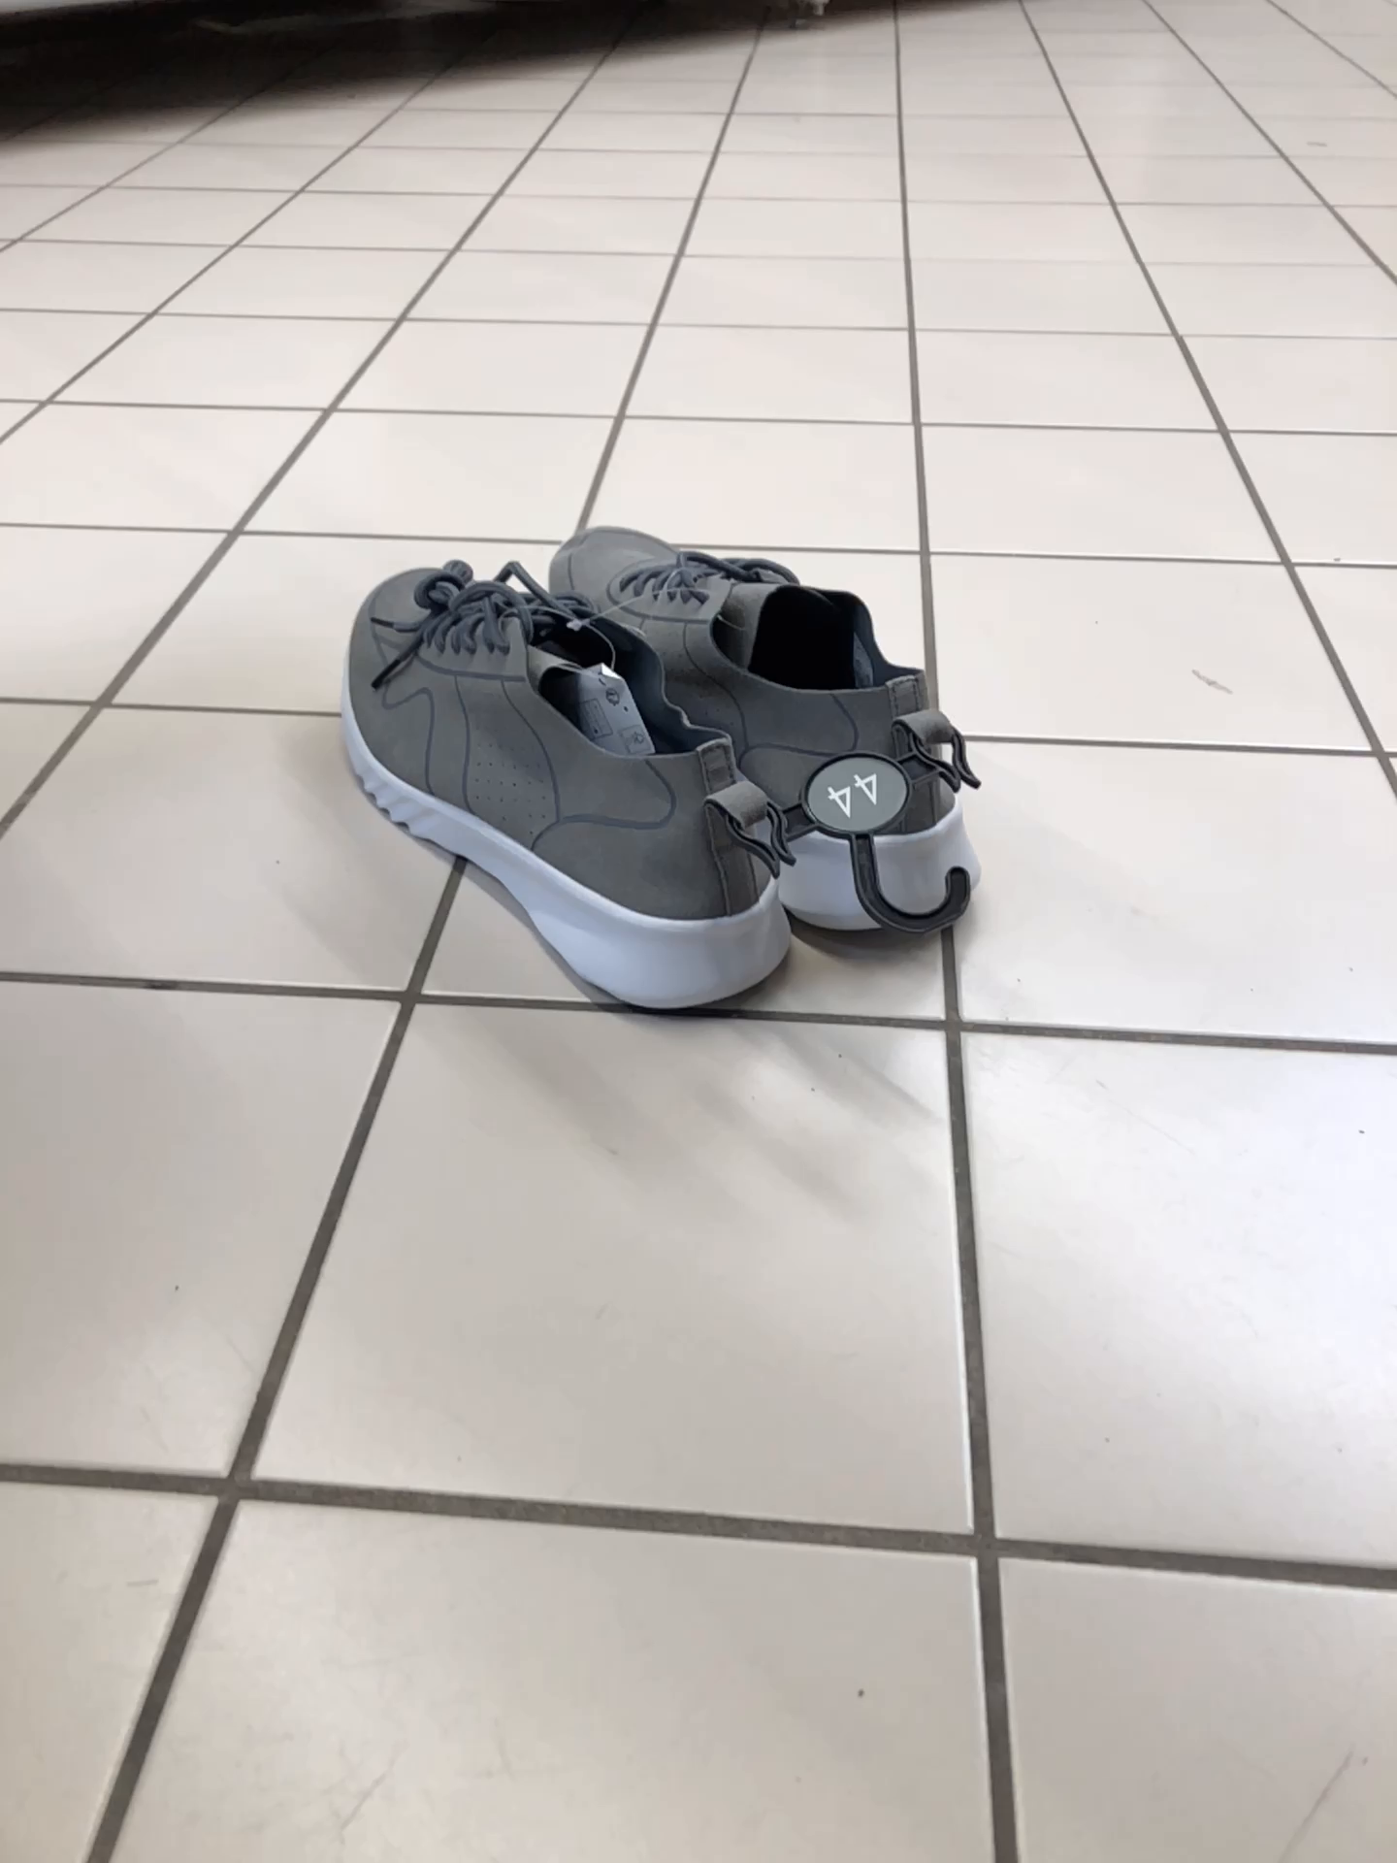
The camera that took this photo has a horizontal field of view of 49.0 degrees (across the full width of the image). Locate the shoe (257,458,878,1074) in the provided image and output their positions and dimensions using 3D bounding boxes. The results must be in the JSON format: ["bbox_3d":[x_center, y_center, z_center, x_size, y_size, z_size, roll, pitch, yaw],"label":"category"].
[{"bbox_3d":[-0.064,-0.084,0.613,0.110,0.099,0.291,-22,42,-25],"label":"shoe"}]

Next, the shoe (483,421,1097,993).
[{"bbox_3d":[0.022,-0.112,0.647,0.110,0.099,0.291,-19,41,-22],"label":"shoe"}]
